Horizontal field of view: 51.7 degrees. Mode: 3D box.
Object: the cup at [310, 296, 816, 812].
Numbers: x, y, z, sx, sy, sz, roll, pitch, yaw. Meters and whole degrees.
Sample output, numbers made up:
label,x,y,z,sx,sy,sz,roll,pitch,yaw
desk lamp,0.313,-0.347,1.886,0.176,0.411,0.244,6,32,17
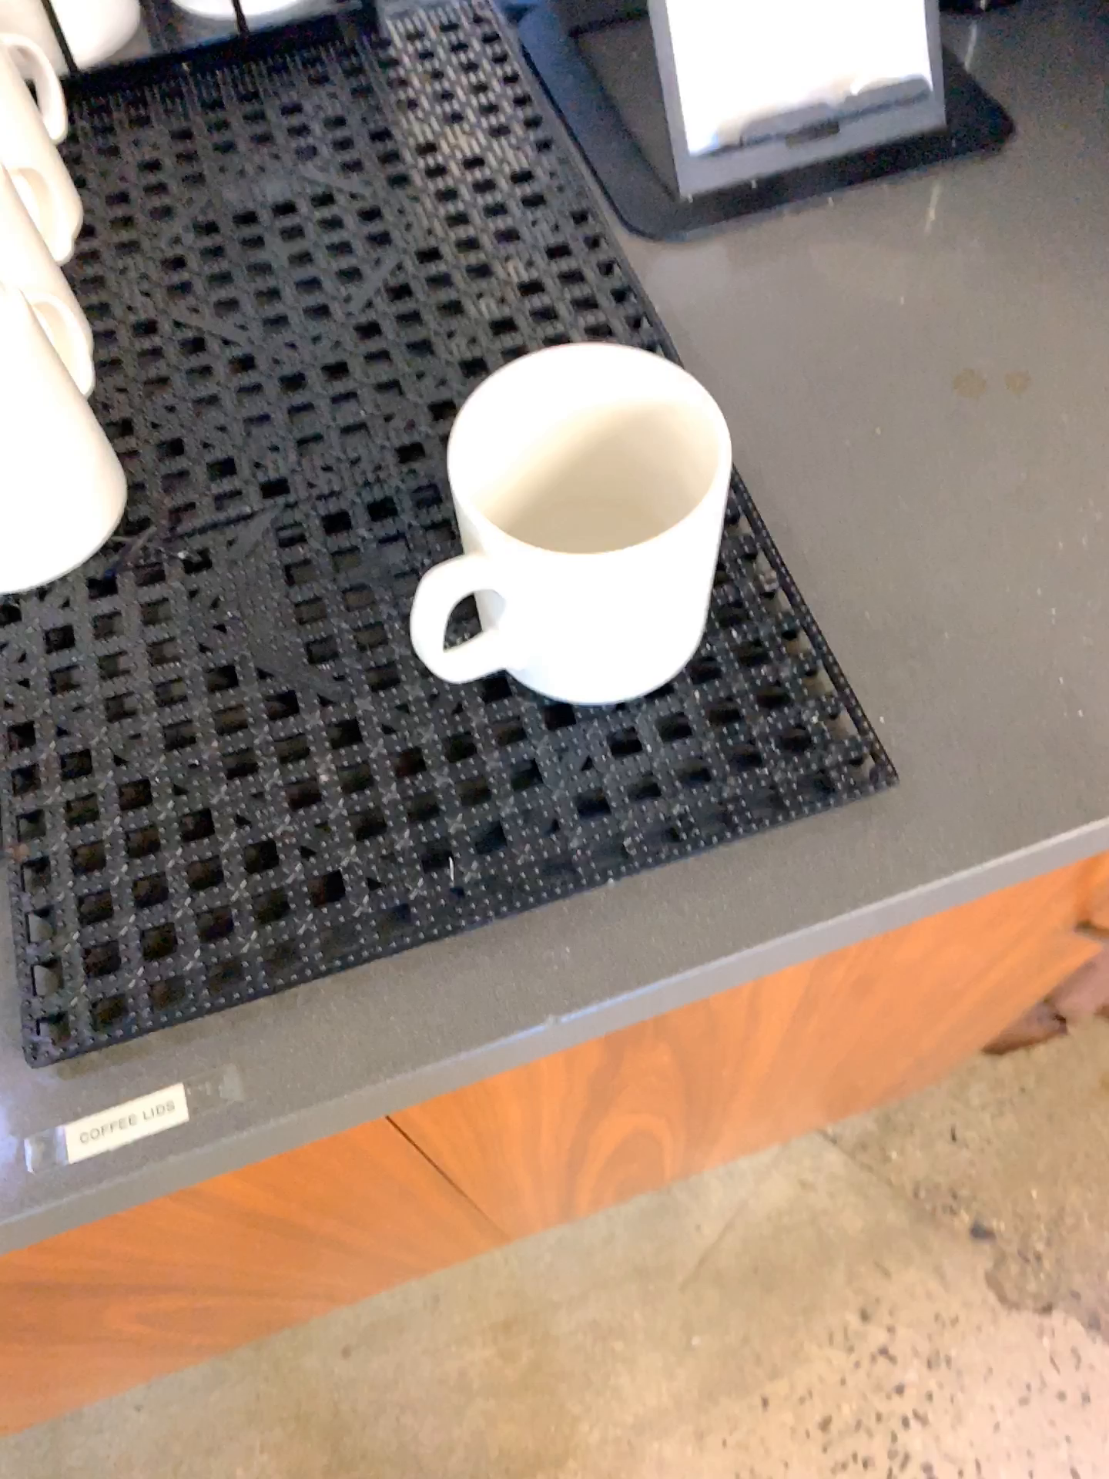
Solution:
label,x,y,z,sx,sy,sz,roll,pitch,yaw
cup,0.004,-0.060,0.373,0.120,0.080,0.090,-39,66,-16
